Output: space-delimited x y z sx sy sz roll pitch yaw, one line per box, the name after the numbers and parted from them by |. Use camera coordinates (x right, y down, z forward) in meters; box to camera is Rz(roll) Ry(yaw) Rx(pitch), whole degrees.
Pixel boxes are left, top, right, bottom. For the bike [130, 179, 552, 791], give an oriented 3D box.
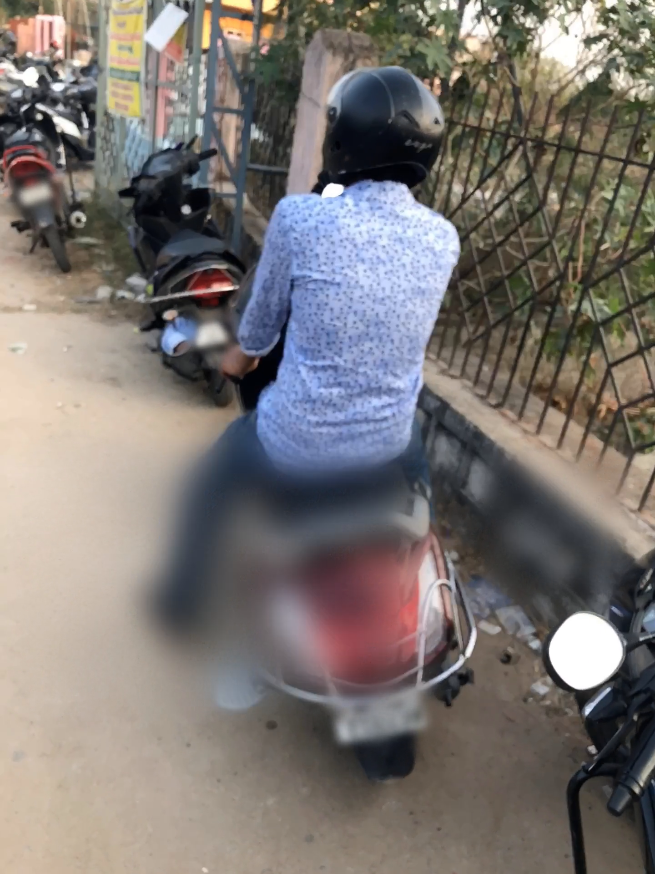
-0.181 -0.023 2.032 0.577 0.963 1.495 1 29 -19 | bike
